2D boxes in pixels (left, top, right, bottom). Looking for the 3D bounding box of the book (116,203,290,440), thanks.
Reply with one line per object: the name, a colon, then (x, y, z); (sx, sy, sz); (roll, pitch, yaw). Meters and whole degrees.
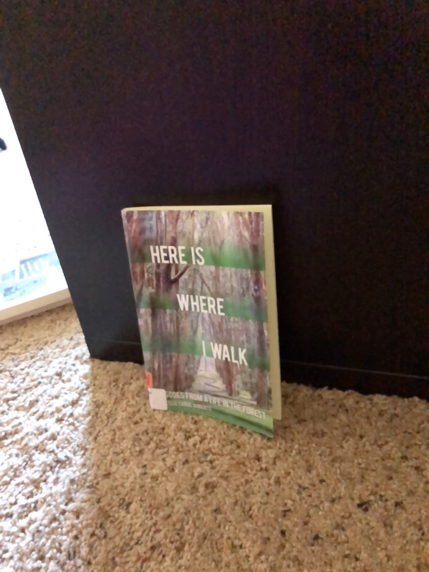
book: (-0.006, 0.033, 0.447); (0.146, 0.212, 0.037); (2, 18, 18)
